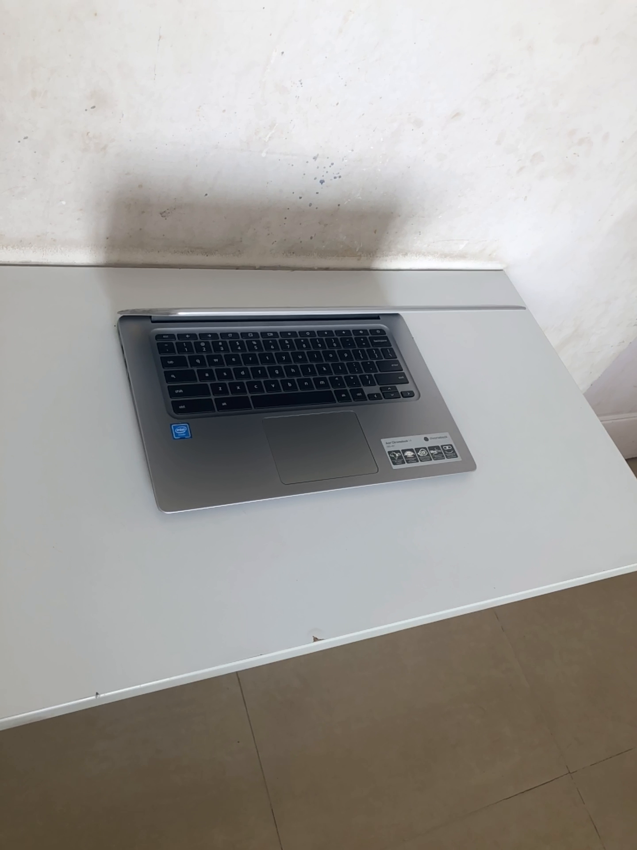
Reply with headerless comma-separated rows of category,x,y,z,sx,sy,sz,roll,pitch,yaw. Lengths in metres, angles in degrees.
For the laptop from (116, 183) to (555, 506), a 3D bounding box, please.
laptop,0.002,-0.081,0.654,0.327,0.155,0.222,-5,56,-25
